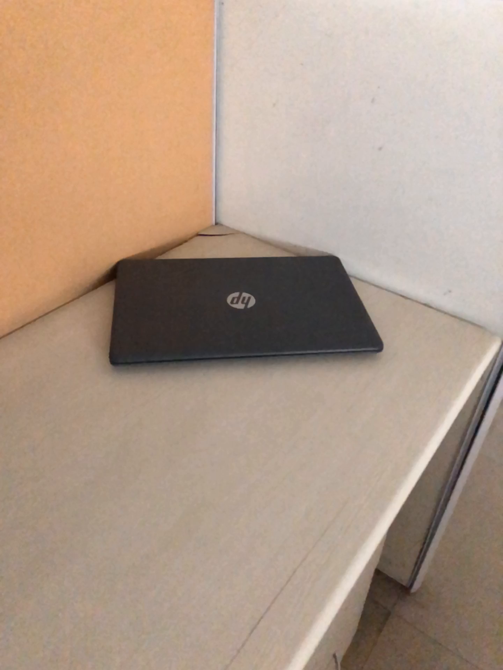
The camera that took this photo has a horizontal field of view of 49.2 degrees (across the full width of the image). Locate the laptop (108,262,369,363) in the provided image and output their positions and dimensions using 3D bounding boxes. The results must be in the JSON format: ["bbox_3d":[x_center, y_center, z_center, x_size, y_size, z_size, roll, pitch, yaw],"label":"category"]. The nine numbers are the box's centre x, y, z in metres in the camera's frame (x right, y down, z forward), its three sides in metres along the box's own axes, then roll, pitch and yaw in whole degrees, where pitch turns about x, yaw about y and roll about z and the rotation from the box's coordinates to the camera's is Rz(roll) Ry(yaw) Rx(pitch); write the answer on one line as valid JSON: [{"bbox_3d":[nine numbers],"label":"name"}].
[{"bbox_3d":[-0.026,-0.045,0.837,0.356,0.004,0.237,-3,37,-8],"label":"laptop"}]
